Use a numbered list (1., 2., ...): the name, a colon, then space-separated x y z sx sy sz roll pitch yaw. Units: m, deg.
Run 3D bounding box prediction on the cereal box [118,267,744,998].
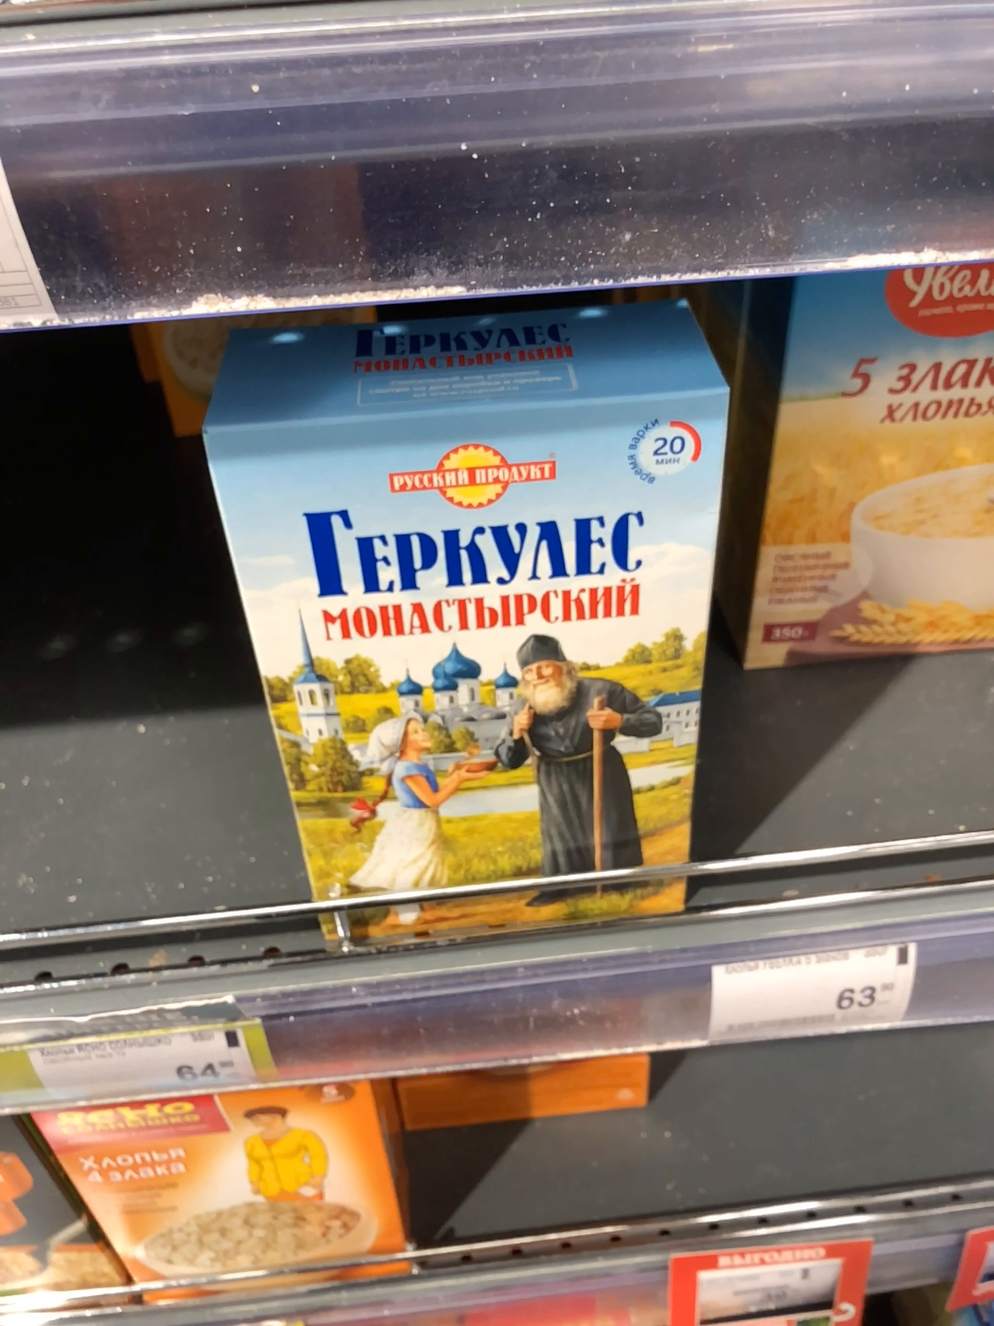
1. cereal box: -0.012 0.003 0.315 0.130 0.199 0.060 -6 39 -3
